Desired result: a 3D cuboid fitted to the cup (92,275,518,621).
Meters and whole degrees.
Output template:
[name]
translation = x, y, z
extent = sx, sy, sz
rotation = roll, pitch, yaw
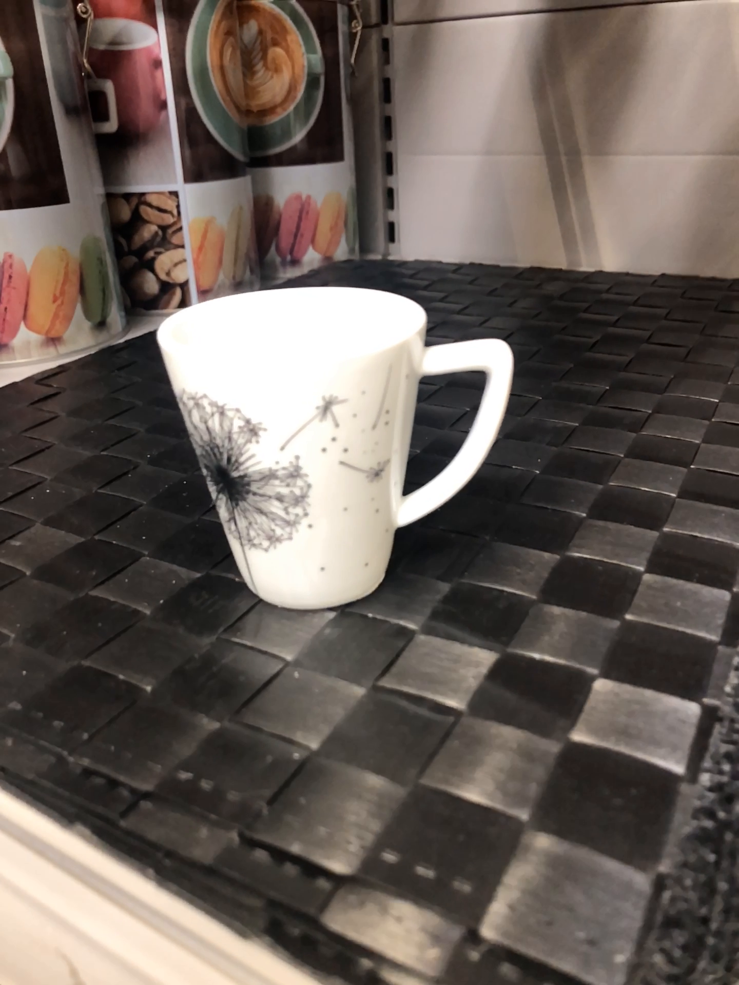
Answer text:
[cup]
translation = -0.010, -0.012, 0.194
extent = 0.081, 0.060, 0.057
rotation = -1, 32, 3
